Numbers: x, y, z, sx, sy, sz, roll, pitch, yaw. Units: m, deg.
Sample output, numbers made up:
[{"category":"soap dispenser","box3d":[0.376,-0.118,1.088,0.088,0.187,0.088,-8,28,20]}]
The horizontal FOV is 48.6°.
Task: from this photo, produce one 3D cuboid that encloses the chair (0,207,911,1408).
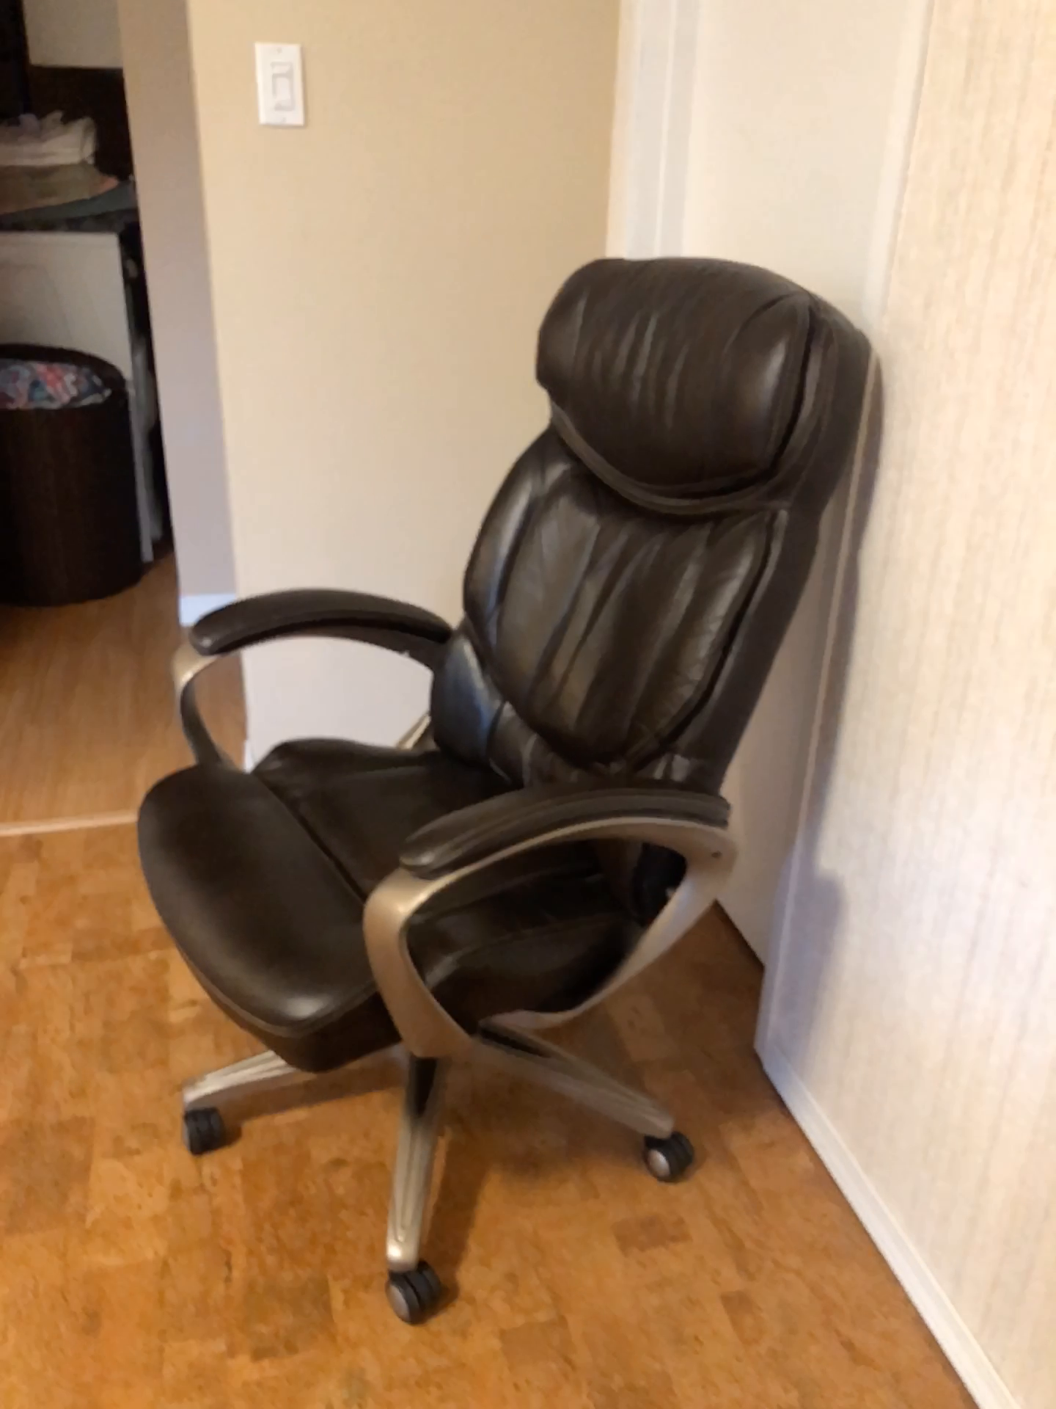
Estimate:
[{"category":"chair","box3d":[-0.131,0.023,1.375,0.650,1.086,0.692,-15,30,-32]}]
